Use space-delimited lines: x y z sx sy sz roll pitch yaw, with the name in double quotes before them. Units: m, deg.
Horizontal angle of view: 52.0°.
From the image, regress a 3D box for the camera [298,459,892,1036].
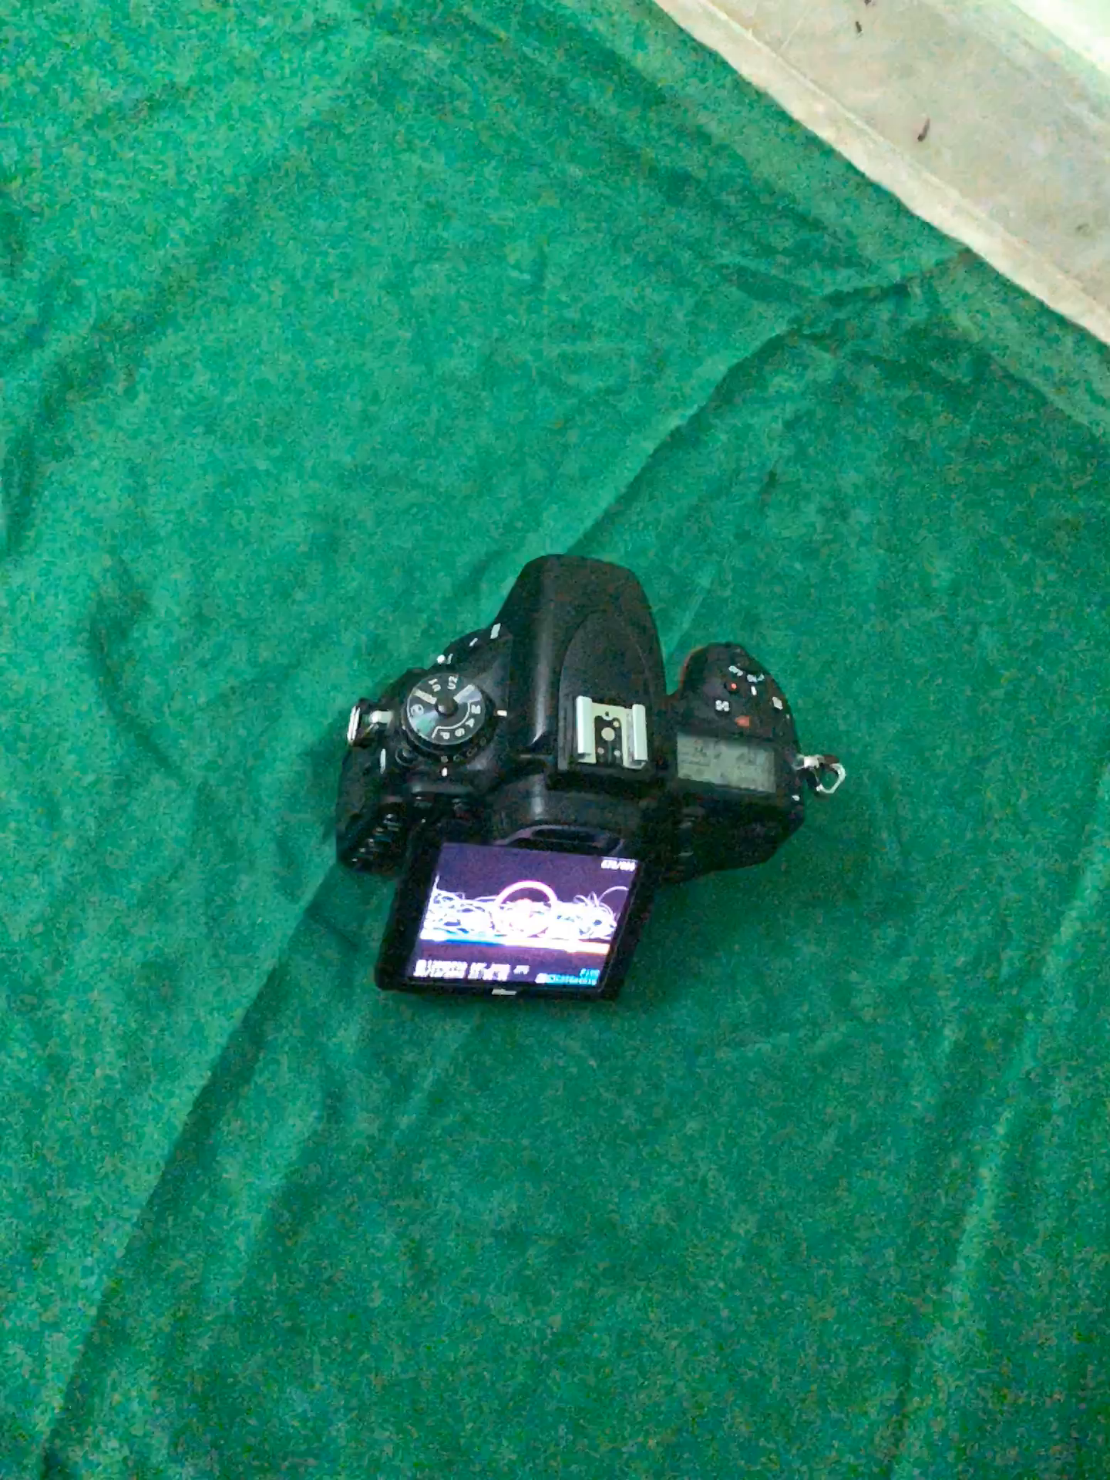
"camera" 0.008 0.012 0.350 0.142 0.100 0.128 11 65 -18
